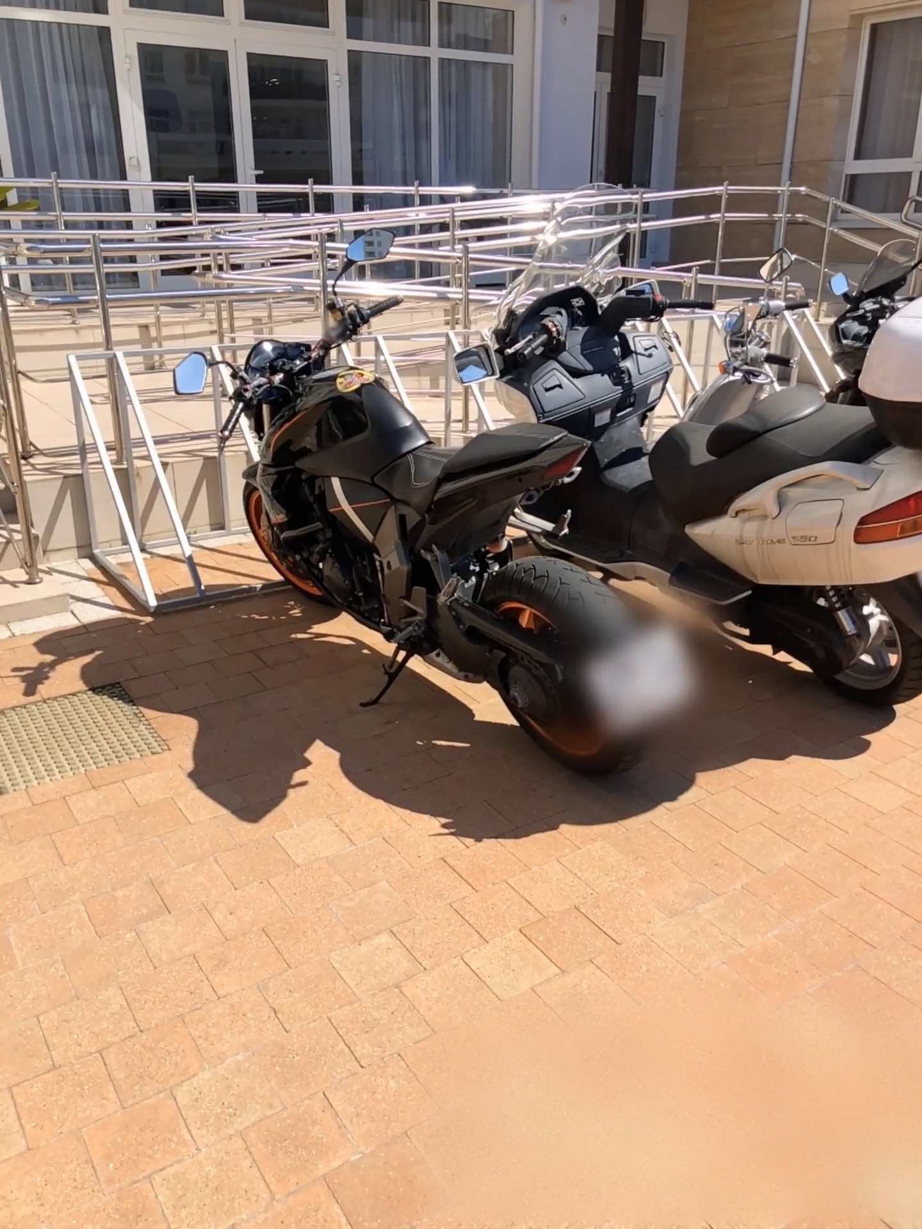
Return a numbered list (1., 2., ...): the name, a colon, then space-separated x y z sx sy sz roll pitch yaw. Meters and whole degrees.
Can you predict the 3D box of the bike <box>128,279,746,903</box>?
1. bike: -0.226 -0.308 2.985 0.797 1.170 1.955 -14 26 -32
